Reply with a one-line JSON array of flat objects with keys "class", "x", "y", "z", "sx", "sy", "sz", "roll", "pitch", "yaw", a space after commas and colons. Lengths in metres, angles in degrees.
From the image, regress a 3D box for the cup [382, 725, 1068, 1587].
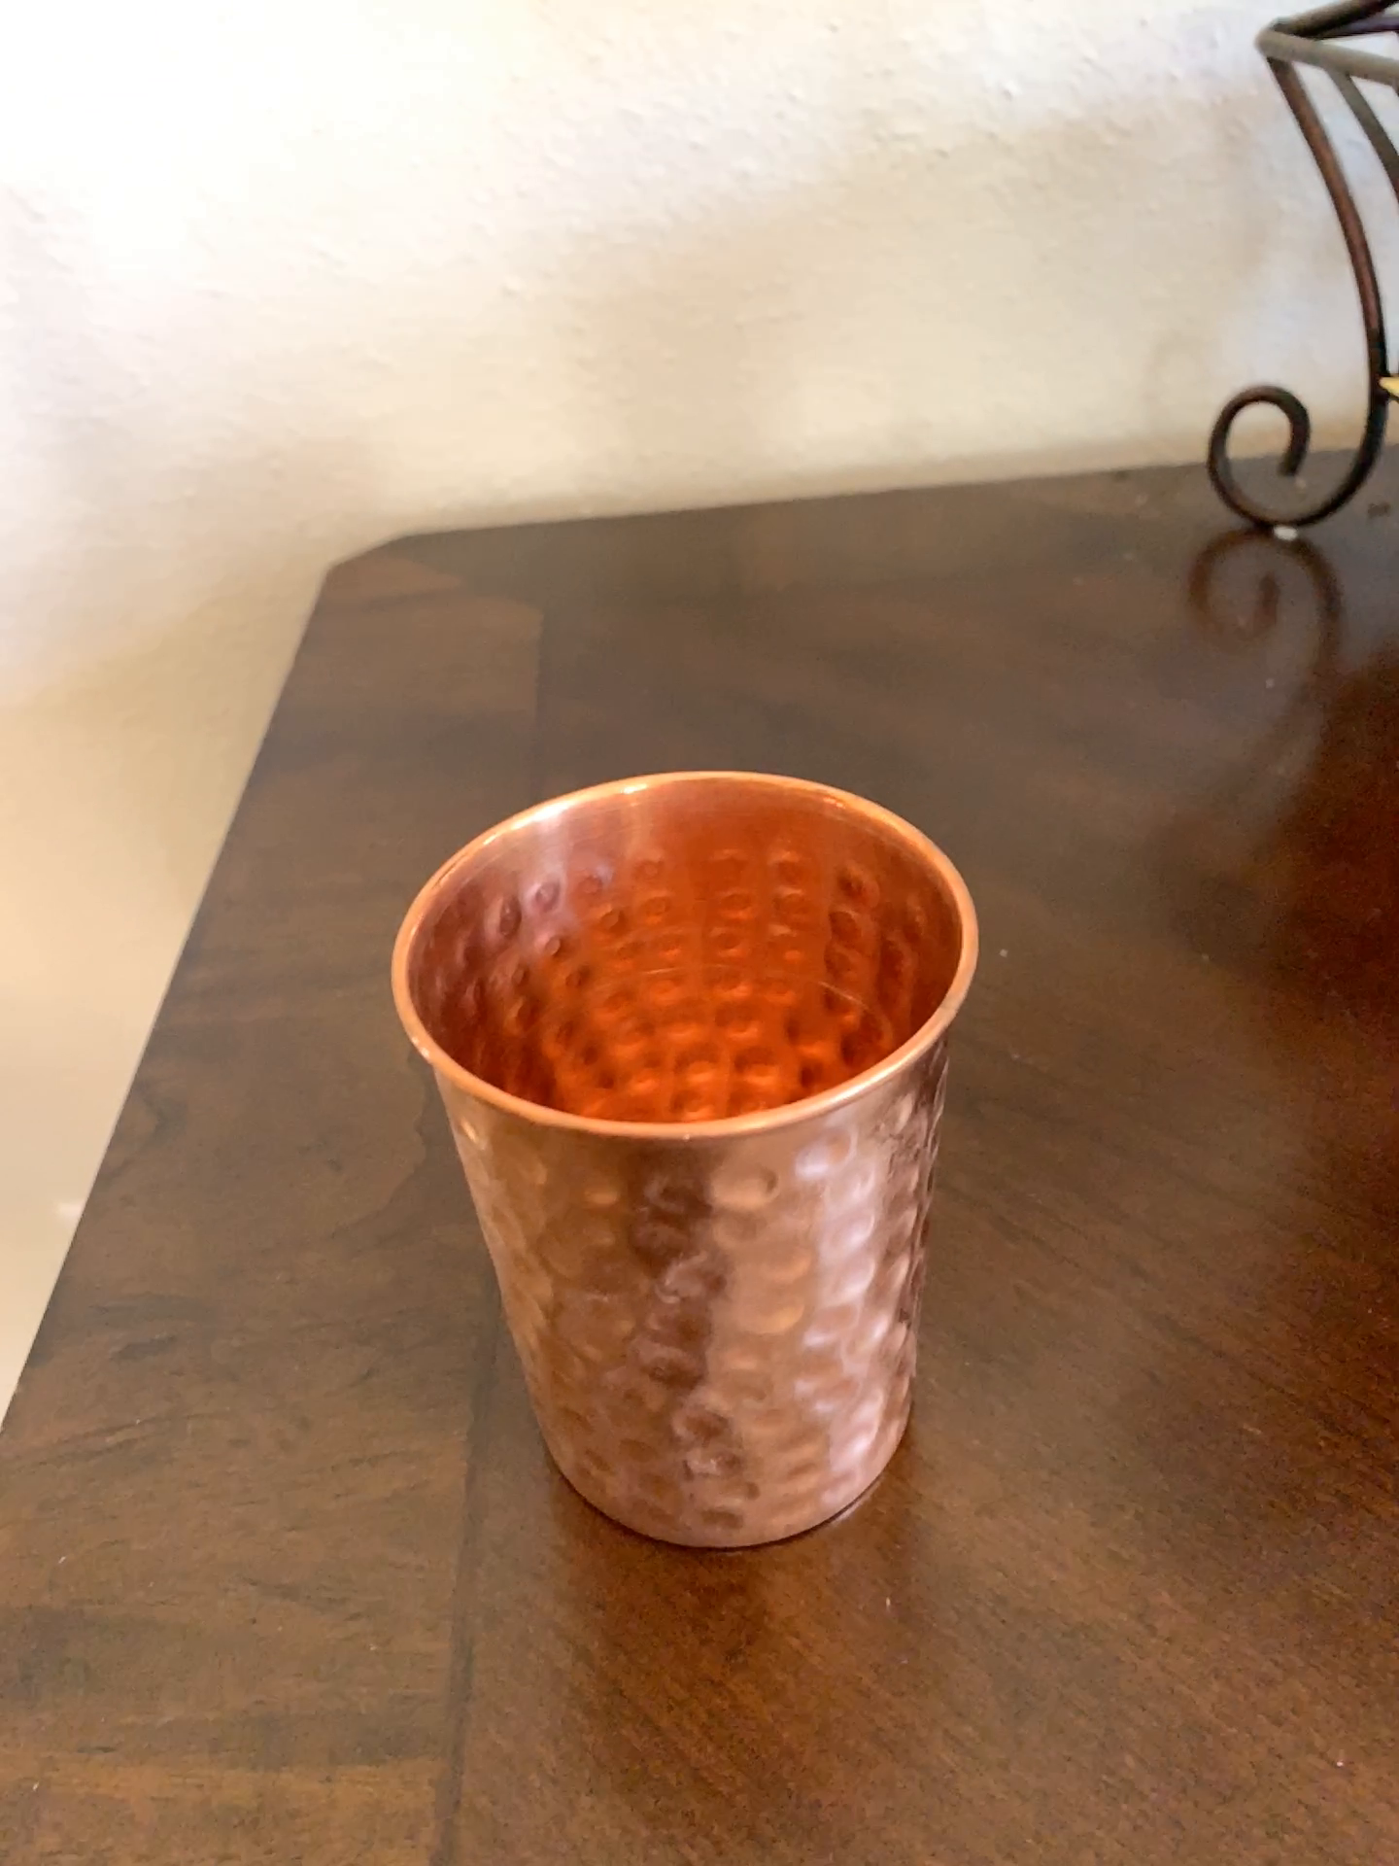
[{"class": "cup", "x": 0.000, "y": 0.028, "z": 0.197, "sx": 0.070, "sy": 0.082, "sz": 0.067, "roll": -2, "pitch": 36, "yaw": 2}]
